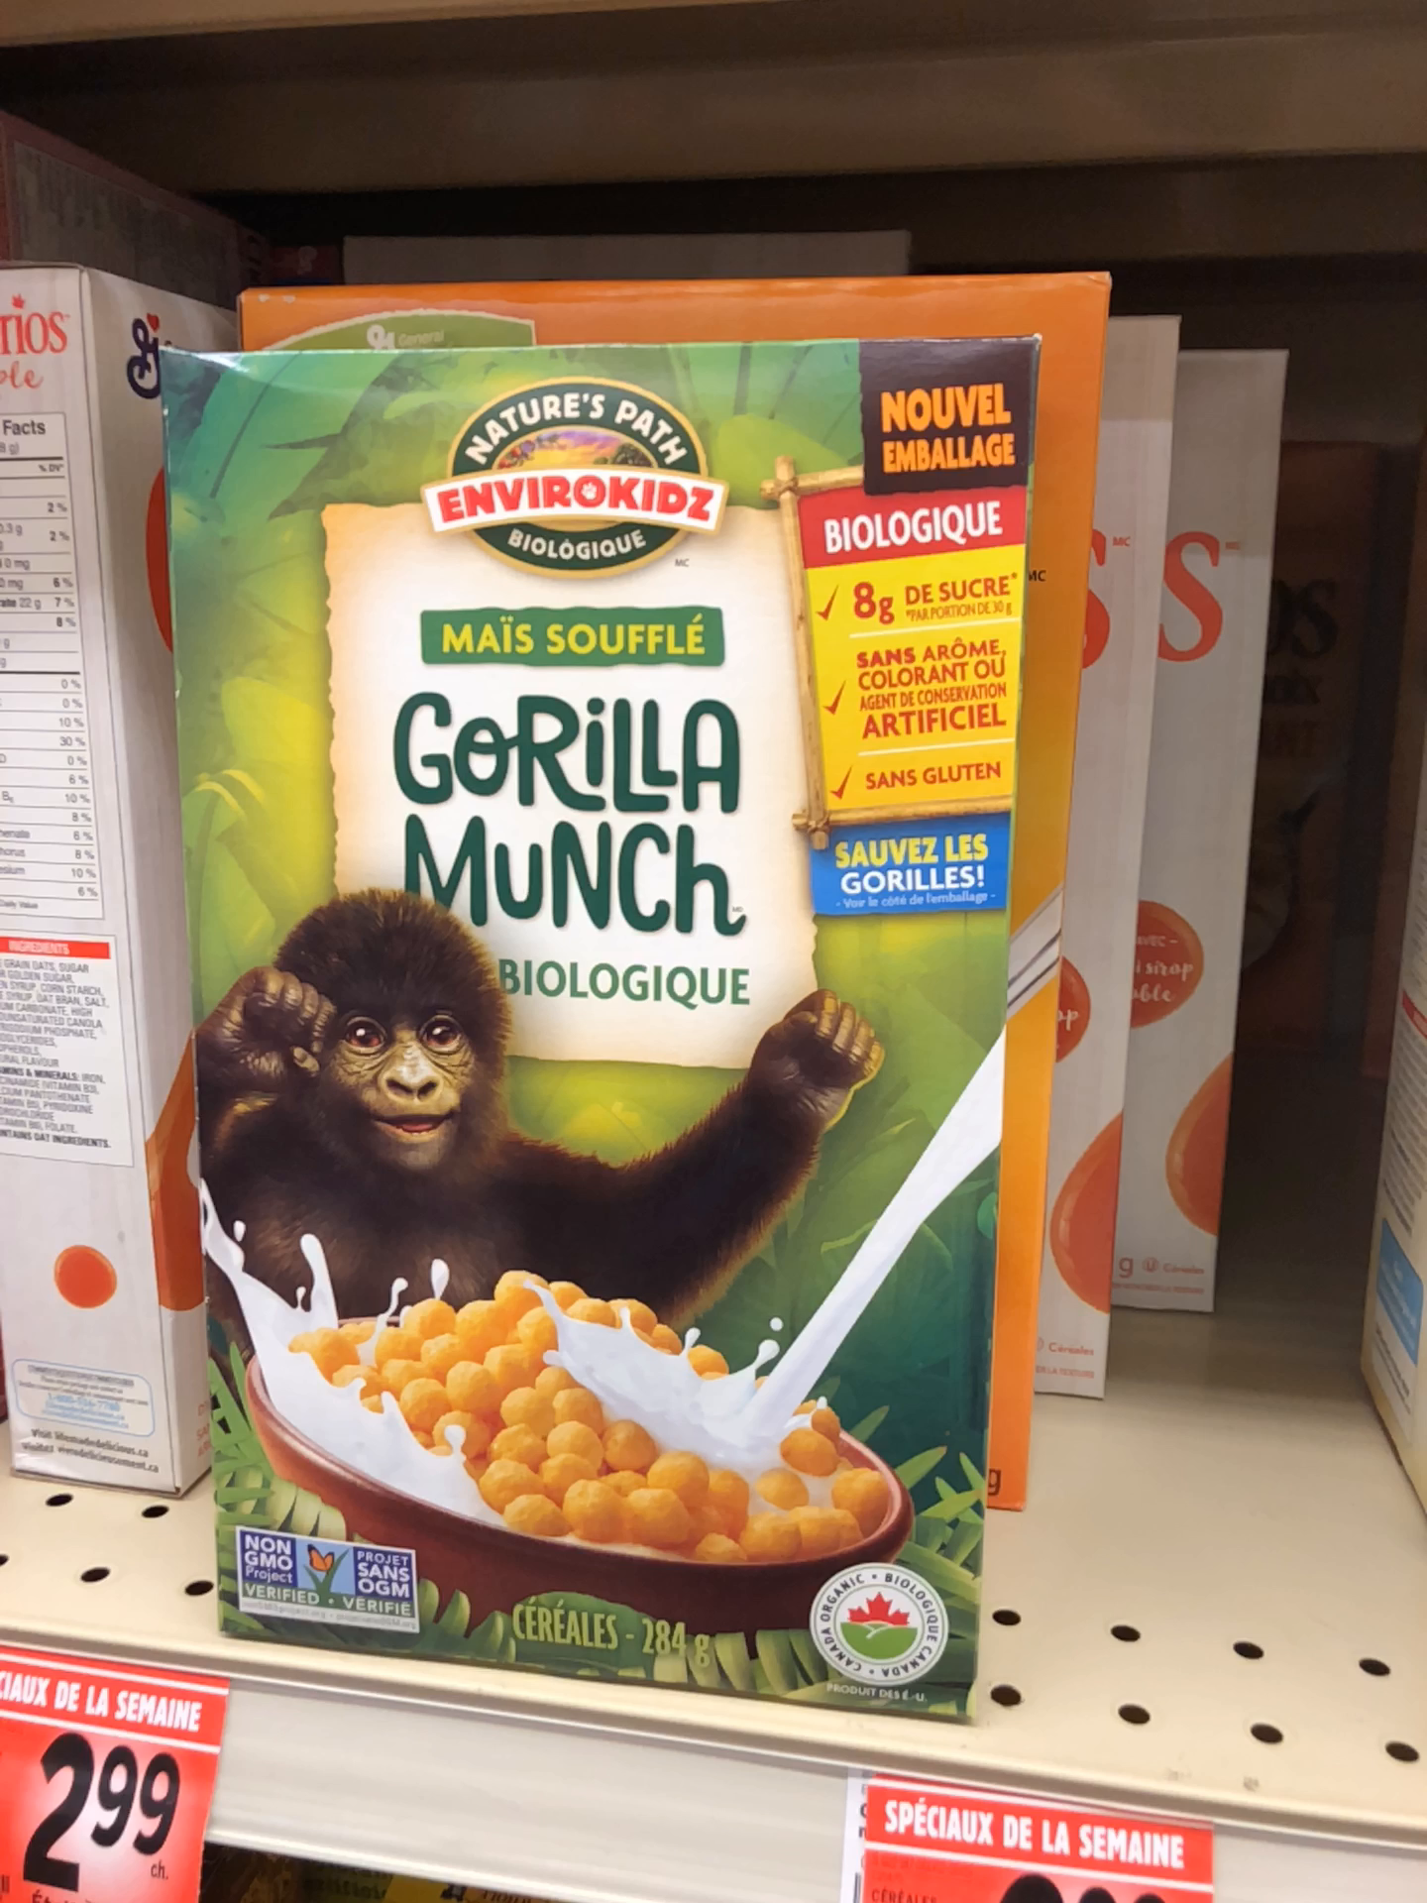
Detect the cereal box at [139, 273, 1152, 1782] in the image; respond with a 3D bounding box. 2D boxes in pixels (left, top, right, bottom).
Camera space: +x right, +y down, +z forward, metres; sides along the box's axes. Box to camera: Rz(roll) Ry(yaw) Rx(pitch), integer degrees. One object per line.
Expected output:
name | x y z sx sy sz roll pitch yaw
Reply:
cereal box | -0.010 0.016 0.302 0.160 0.259 0.060 2 13 9
